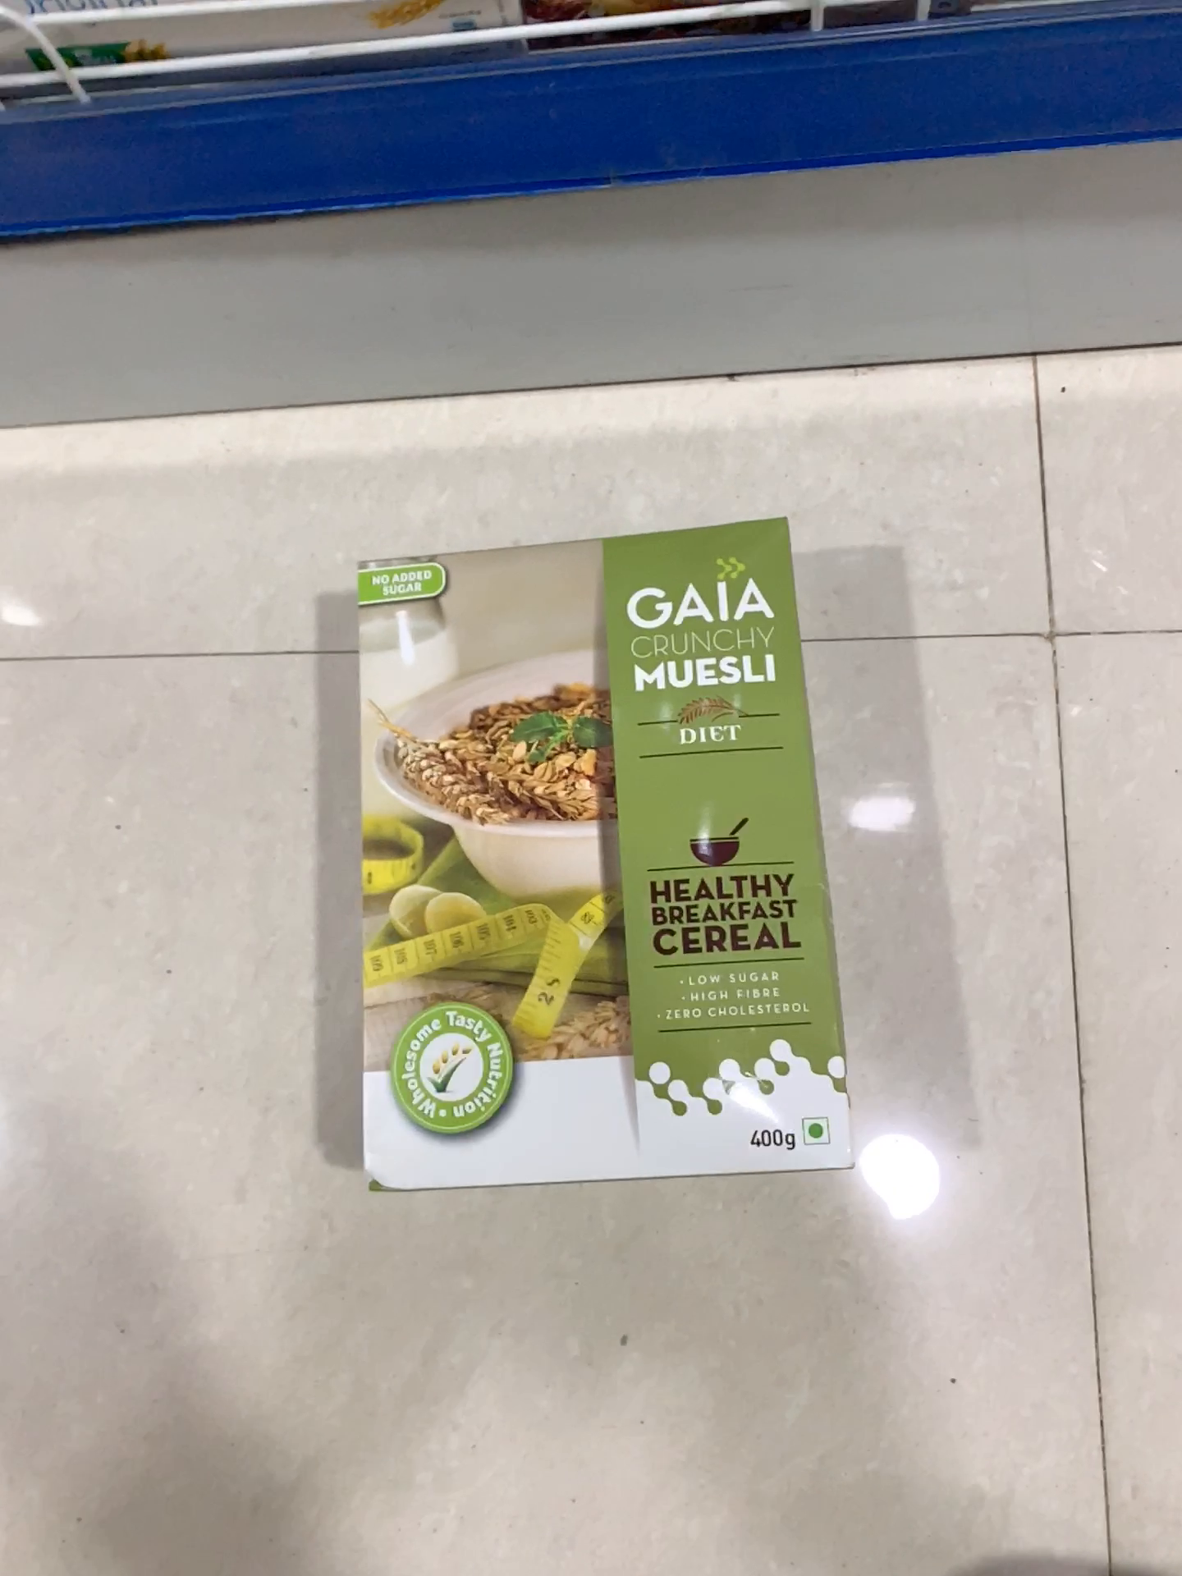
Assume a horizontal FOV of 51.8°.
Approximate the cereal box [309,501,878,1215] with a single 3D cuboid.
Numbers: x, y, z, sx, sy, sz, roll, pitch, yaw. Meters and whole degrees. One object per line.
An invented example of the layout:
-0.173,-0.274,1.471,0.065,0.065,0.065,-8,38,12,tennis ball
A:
-0.003,0.027,0.448,0.180,0.070,0.230,-6,77,7,cereal box
